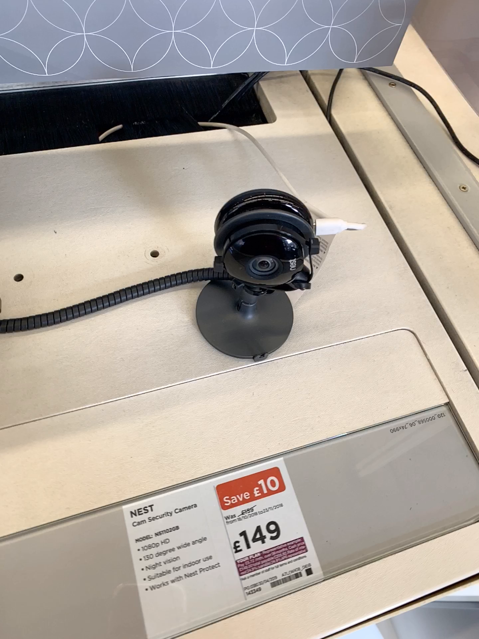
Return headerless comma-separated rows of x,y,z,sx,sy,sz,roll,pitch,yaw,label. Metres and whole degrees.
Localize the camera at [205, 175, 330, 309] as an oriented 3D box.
0.013,-0.042,0.278,0.060,0.050,0.050,4,60,-6,camera
